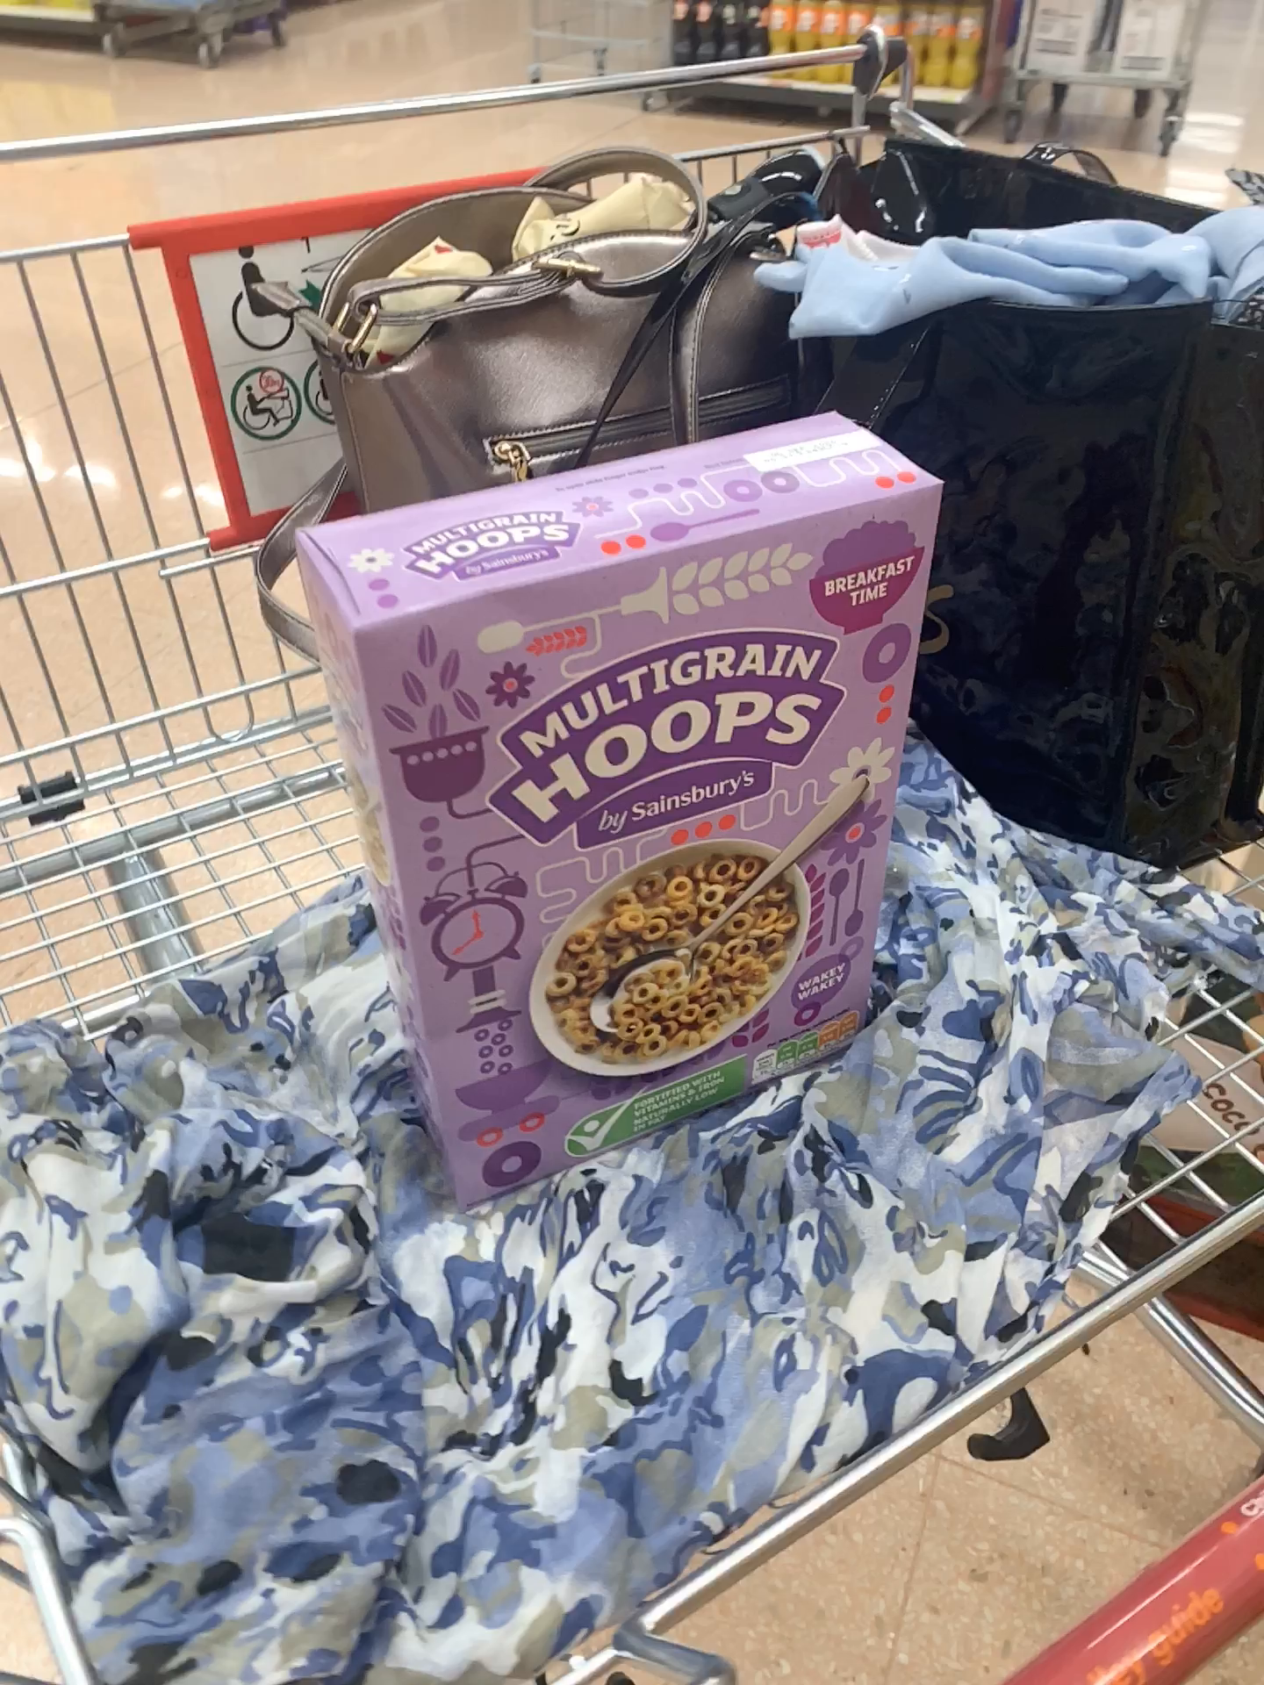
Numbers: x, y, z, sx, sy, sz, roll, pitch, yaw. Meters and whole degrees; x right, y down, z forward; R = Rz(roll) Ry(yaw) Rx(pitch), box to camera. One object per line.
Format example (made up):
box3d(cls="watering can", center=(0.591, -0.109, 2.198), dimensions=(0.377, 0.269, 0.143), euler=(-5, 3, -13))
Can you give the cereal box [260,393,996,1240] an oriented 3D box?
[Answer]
box3d(cls="cereal box", center=(0.003, -0.001, 0.470), dimensions=(0.210, 0.267, 0.071), euler=(-17, 42, -19))
